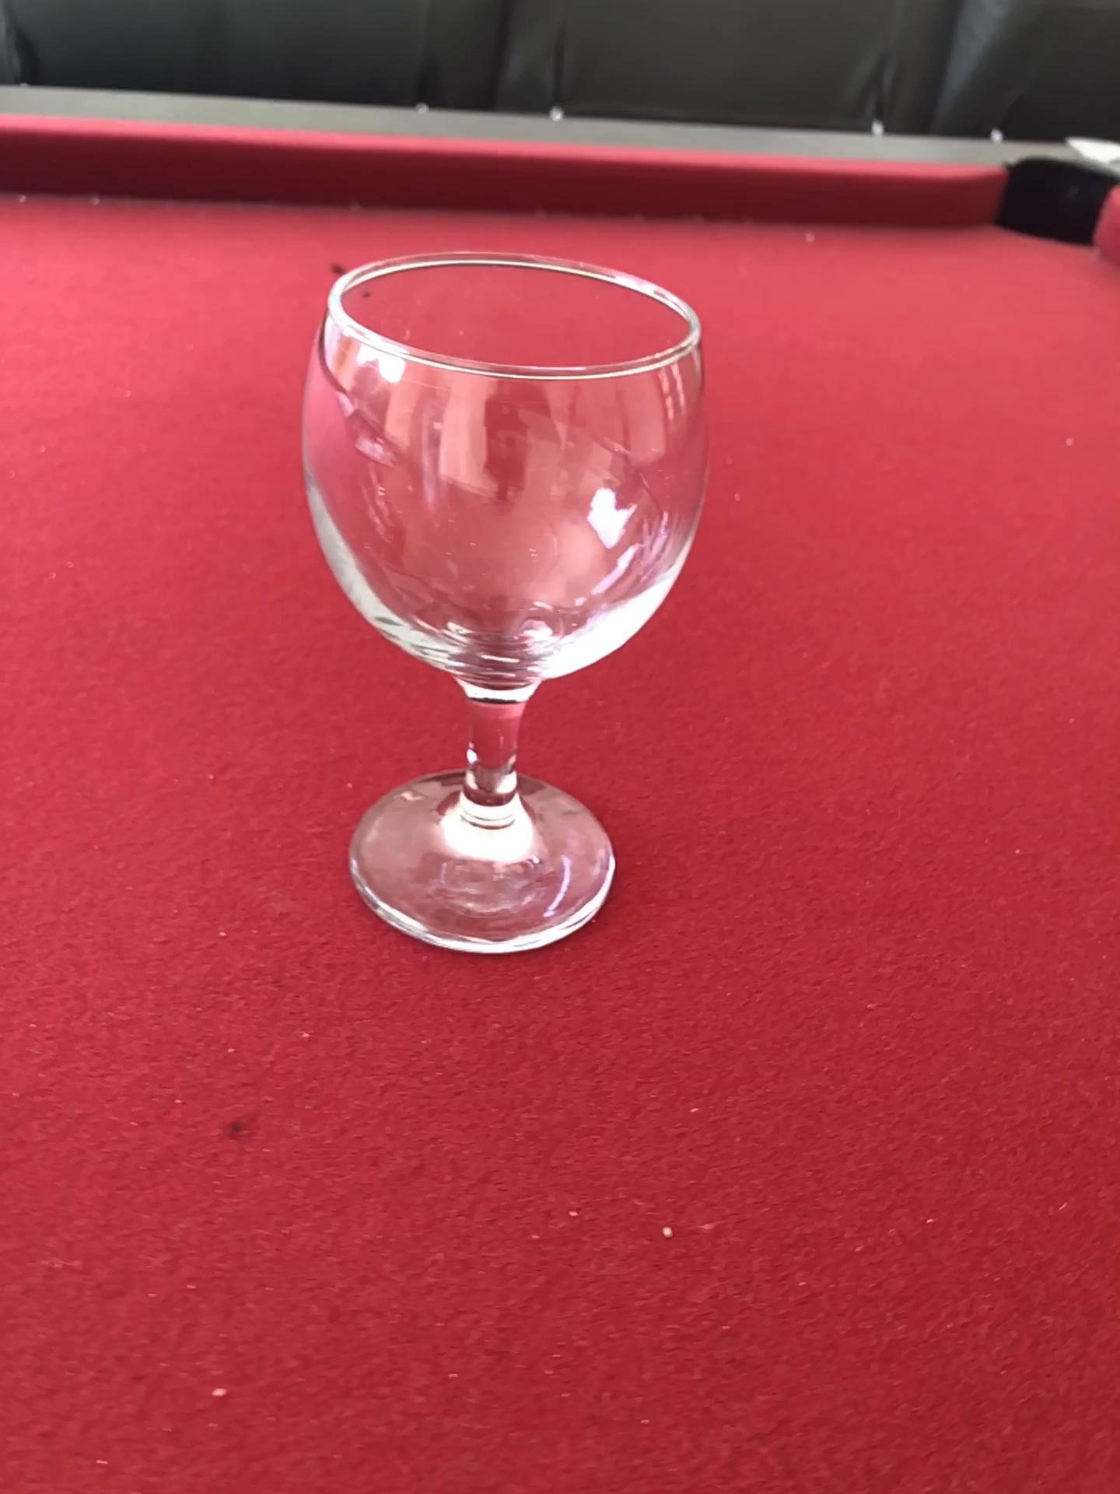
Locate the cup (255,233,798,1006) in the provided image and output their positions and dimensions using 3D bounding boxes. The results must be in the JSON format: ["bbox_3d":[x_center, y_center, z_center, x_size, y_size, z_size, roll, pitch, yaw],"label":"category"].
[{"bbox_3d":[-0.010,-0.028,0.263,0.070,0.129,0.070,4,35,-3],"label":"cup"}]
